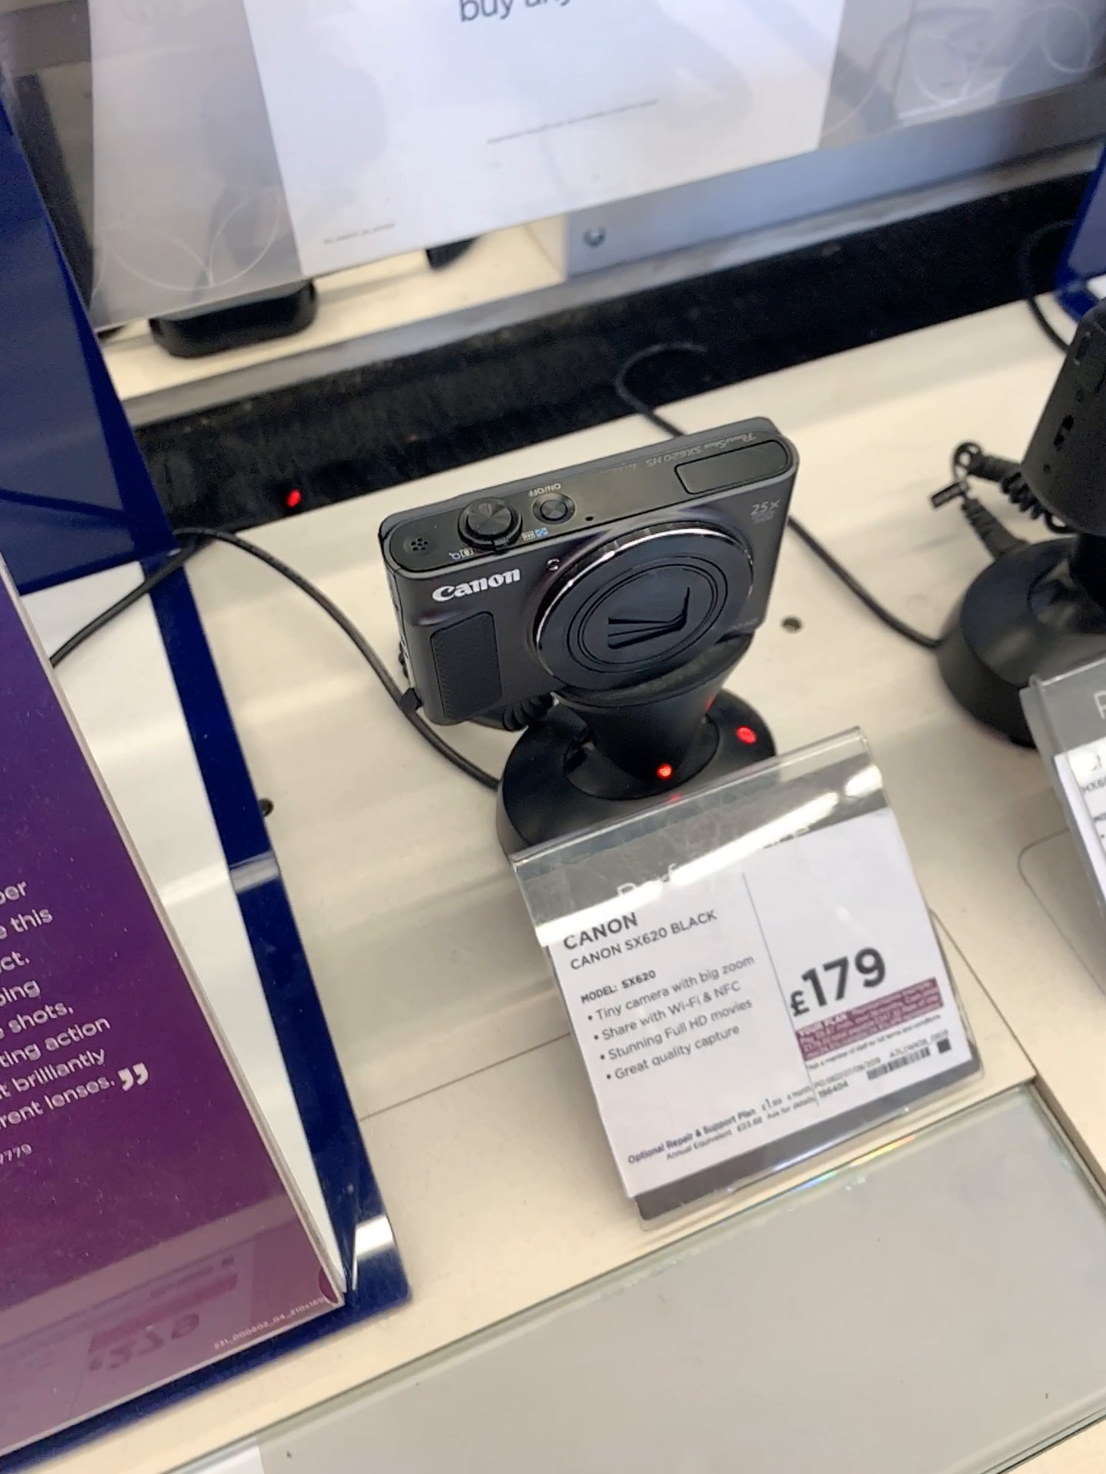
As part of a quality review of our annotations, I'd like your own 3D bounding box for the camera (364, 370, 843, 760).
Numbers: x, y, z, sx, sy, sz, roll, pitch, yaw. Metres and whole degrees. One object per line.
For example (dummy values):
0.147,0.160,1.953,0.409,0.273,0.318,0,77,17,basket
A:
0.011,-0.036,0.252,0.090,0.060,0.030,-17,57,-10,camera
